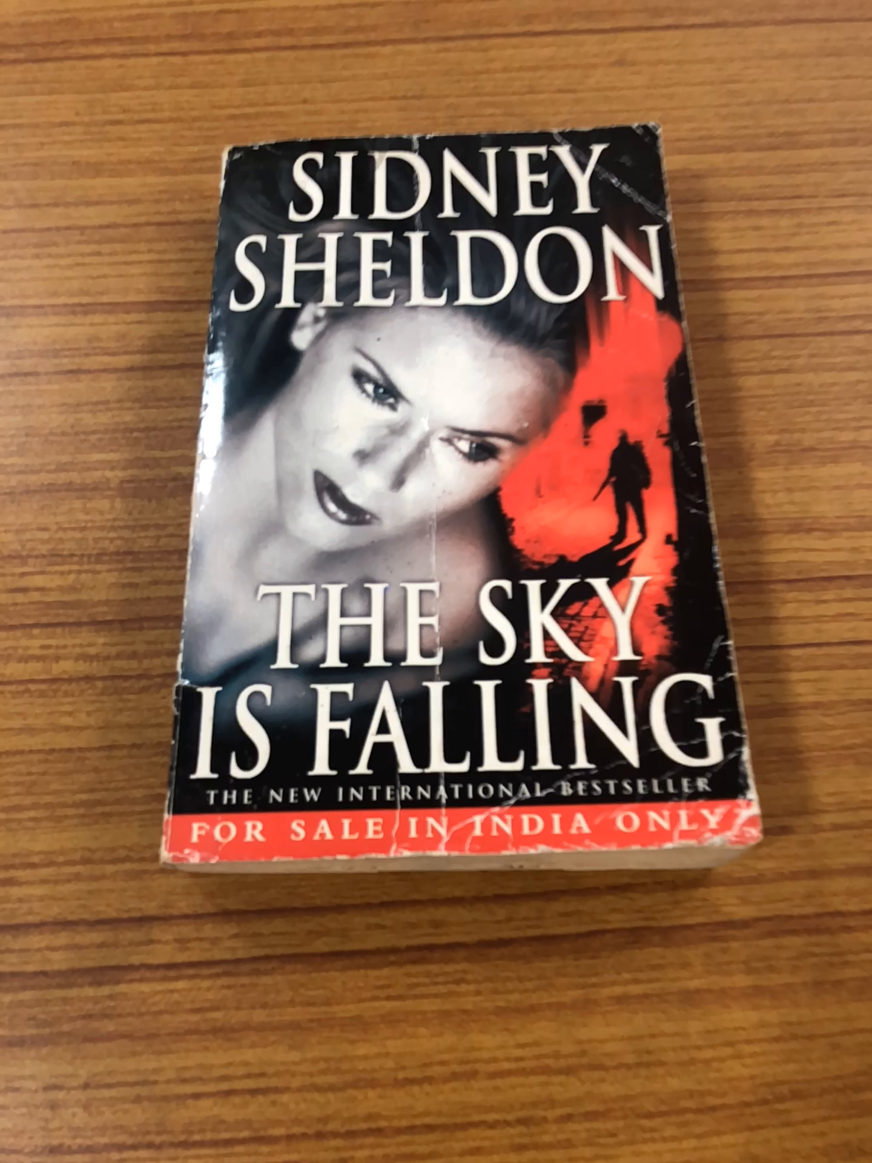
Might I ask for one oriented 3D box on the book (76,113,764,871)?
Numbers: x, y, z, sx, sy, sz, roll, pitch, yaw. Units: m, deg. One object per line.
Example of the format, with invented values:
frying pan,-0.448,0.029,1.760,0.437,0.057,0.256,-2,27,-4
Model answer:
book,-0.003,-0.026,0.214,0.120,0.030,0.170,0,69,1
